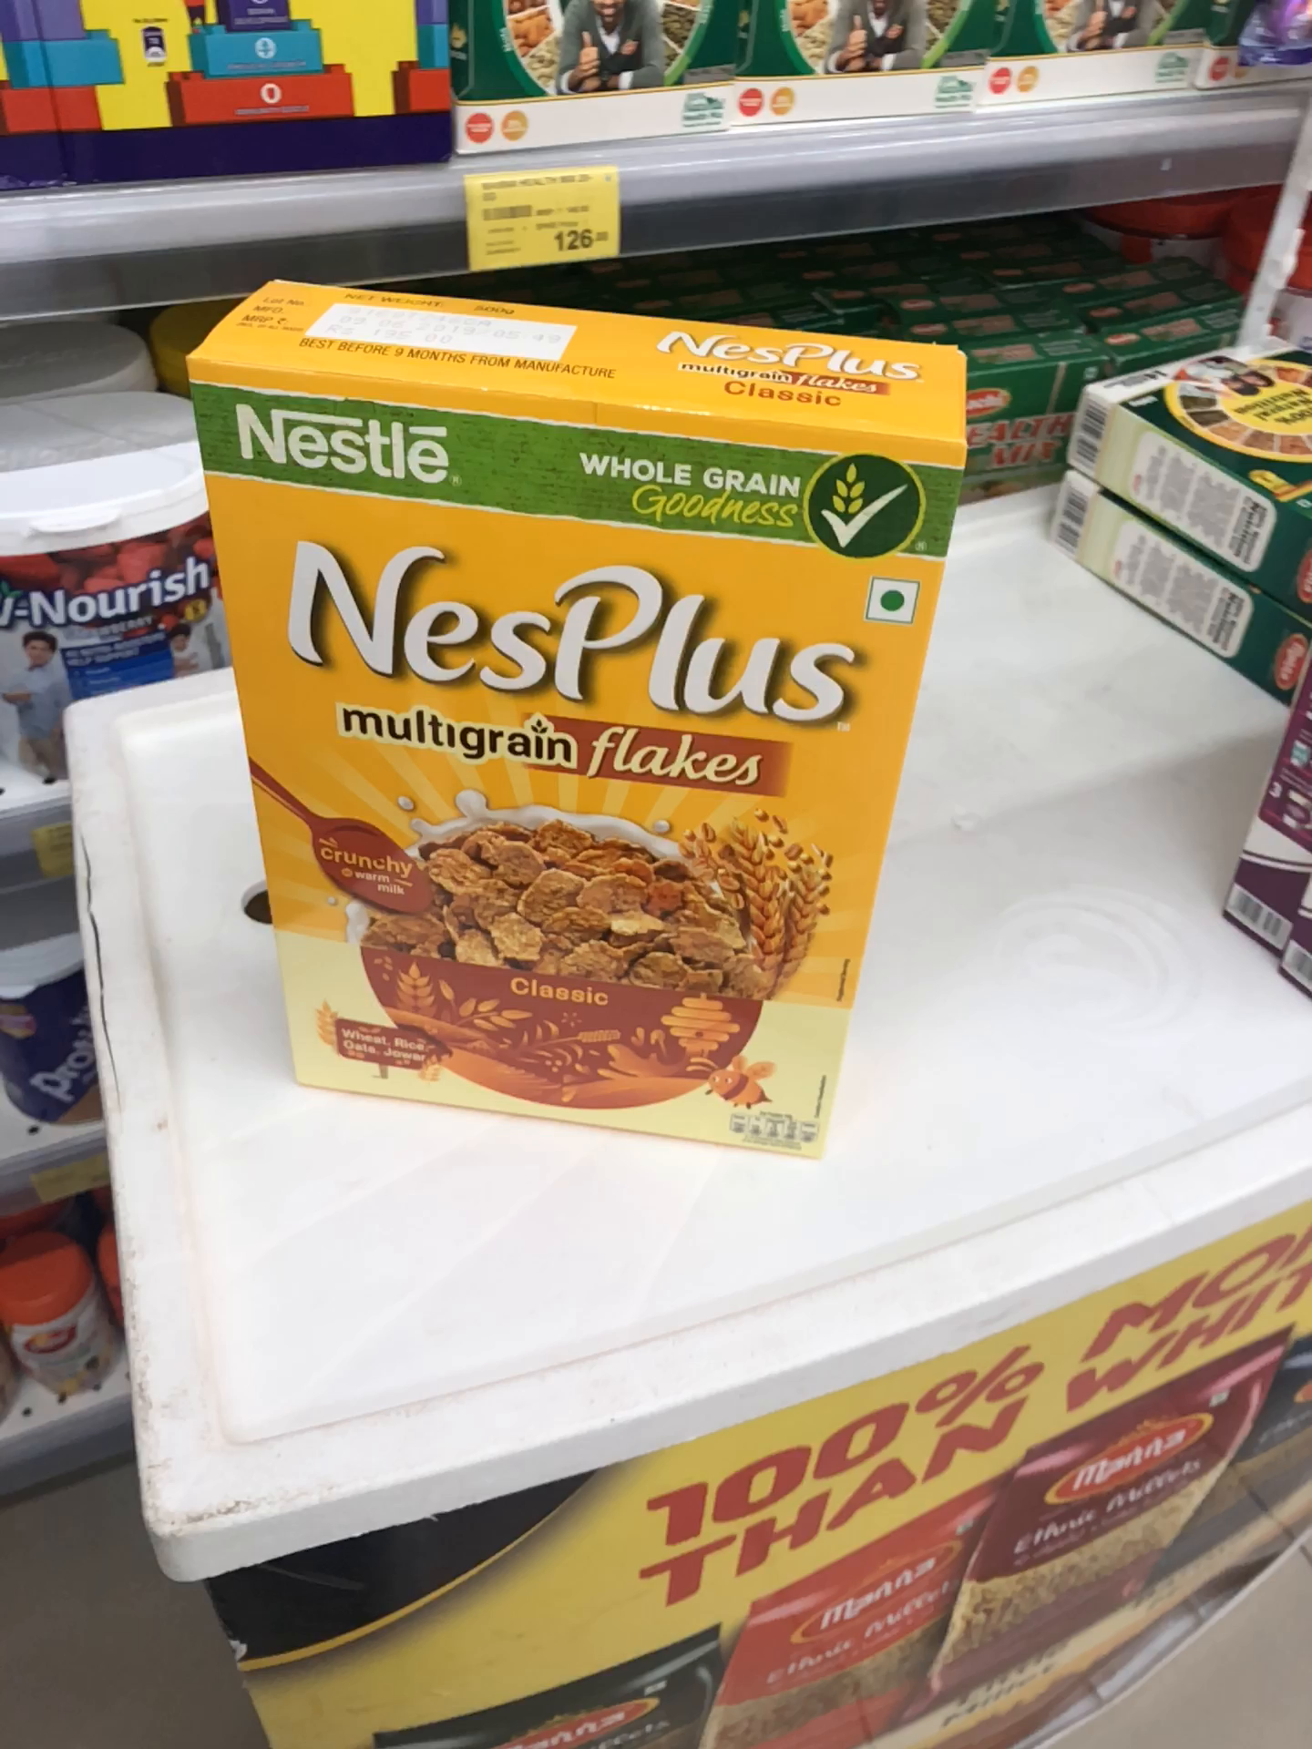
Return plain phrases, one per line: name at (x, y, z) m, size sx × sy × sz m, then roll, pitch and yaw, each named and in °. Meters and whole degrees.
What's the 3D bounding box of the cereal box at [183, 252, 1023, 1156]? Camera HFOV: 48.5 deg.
cereal box at (-0.017, -0.036, 0.458) m, size 0.200 × 0.269 × 0.070 m, roll 7°, pitch 41°, yaw 3°
